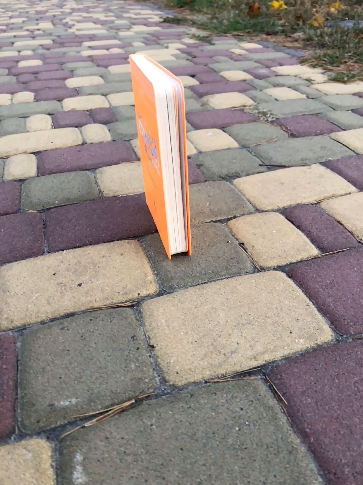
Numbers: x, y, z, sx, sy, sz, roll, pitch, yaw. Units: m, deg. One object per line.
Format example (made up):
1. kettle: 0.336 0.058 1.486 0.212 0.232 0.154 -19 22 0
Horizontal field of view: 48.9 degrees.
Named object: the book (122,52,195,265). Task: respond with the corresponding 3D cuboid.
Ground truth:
1. book: -0.028 -0.104 0.482 0.040 0.200 0.165 -10 35 -10
